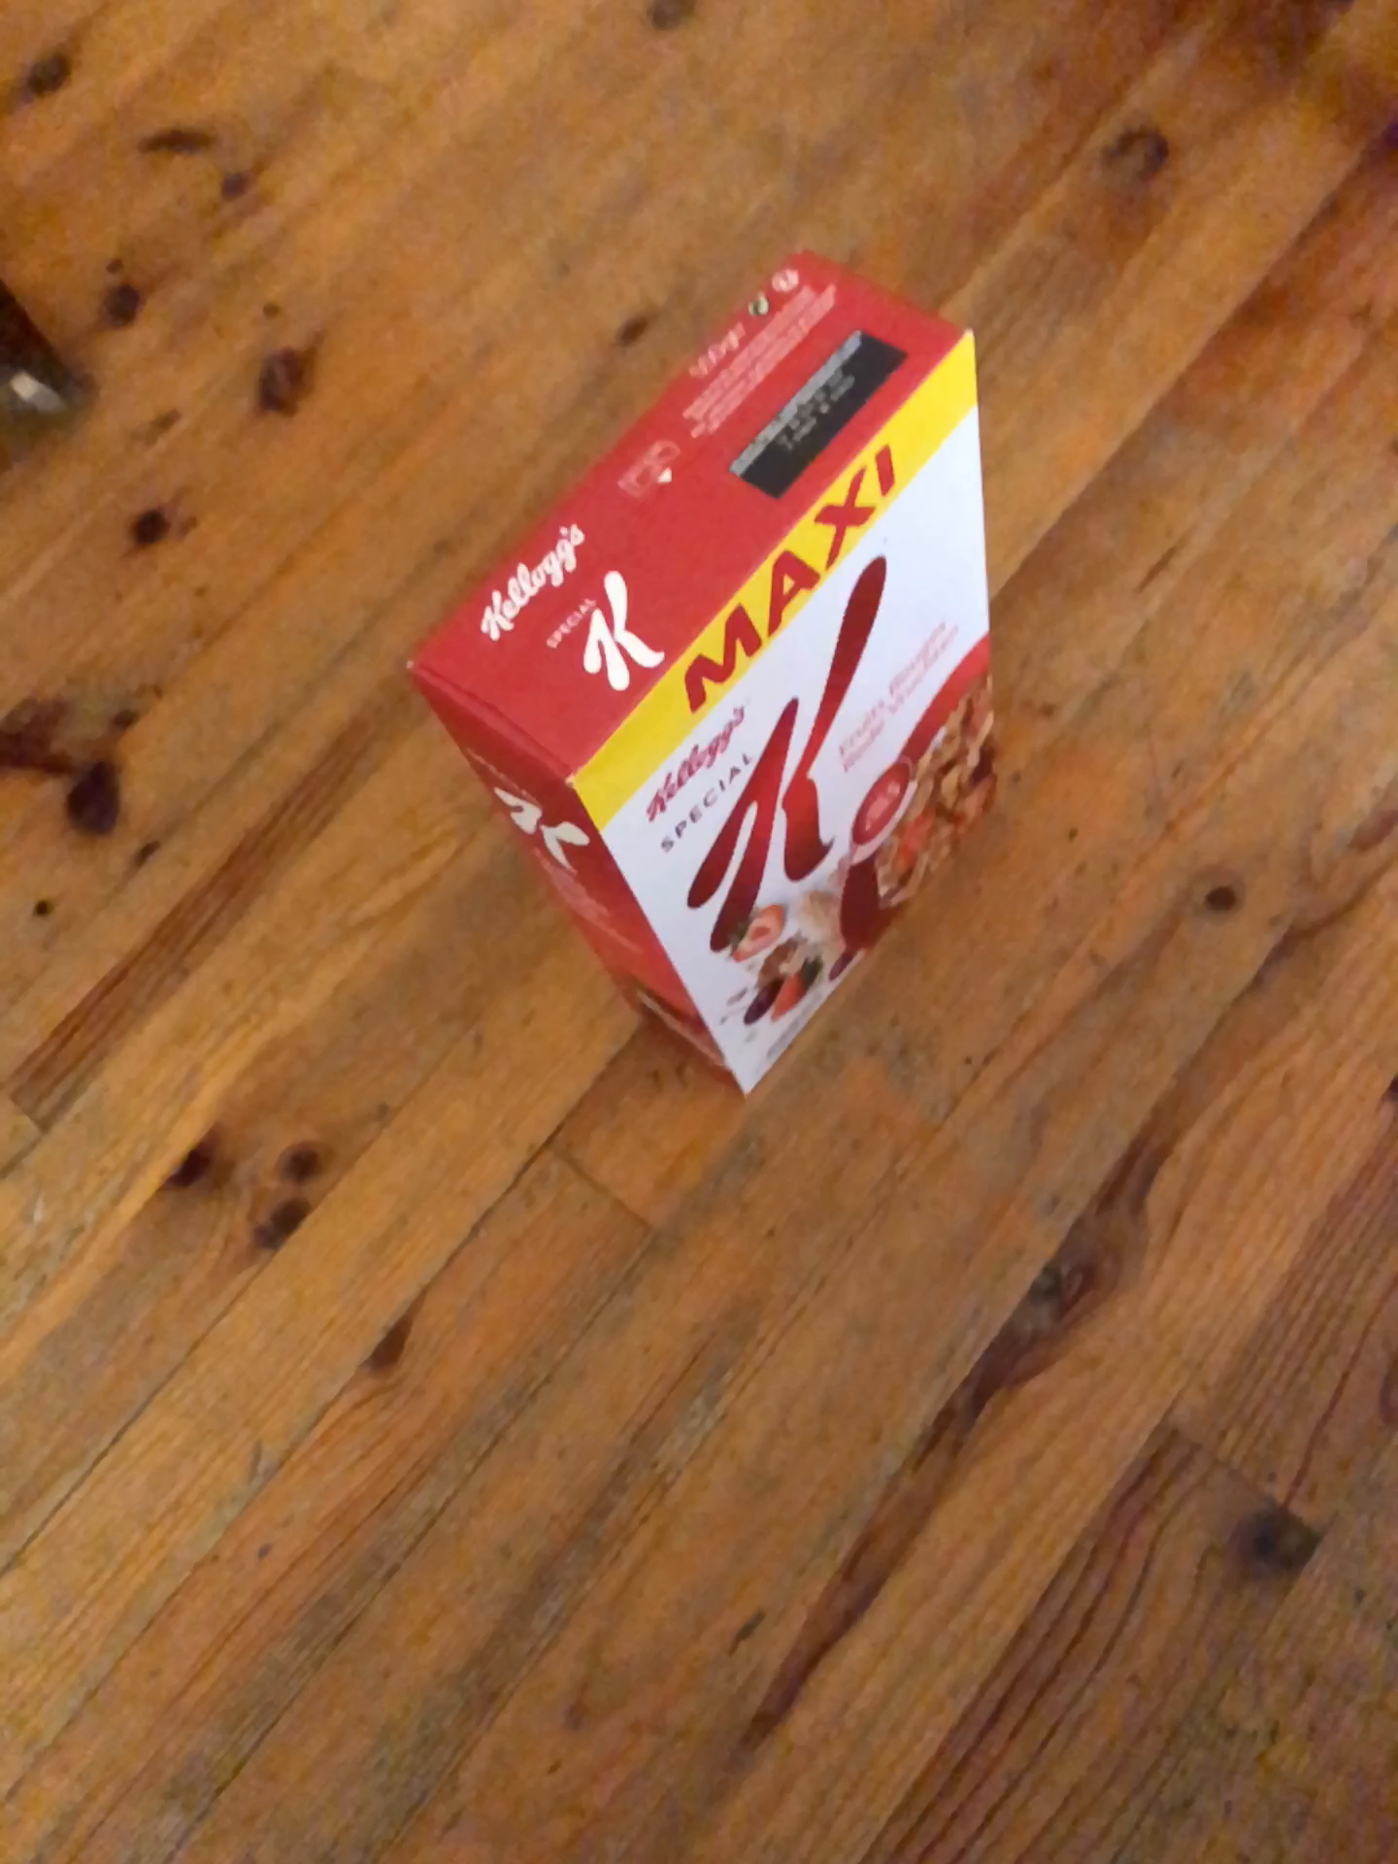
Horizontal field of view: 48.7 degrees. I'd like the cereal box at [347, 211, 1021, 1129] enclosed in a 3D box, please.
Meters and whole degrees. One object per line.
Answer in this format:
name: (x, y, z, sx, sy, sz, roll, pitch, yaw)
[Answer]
cereal box: (0.023, -0.073, 0.589, 0.090, 0.289, 0.210, 35, 77, 23)
